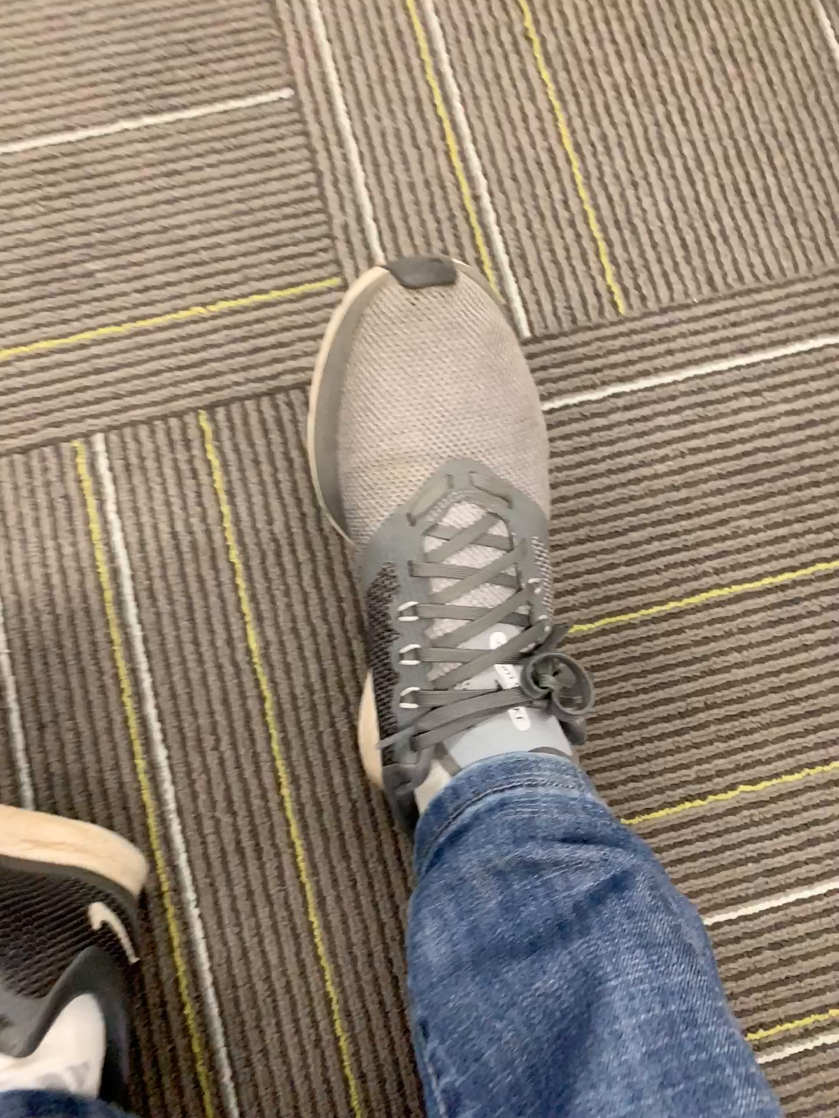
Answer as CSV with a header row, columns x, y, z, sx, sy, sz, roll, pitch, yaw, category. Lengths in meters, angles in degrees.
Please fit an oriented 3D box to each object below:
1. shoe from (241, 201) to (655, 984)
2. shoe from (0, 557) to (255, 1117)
x,y,z,sx,sy,sz,roll,pitch,yaw,category
0.015,0.016,0.368,0.119,0.122,0.294,-11,117,-9,shoe
-0.204,0.152,0.327,0.119,0.294,0.122,-33,48,1,shoe
